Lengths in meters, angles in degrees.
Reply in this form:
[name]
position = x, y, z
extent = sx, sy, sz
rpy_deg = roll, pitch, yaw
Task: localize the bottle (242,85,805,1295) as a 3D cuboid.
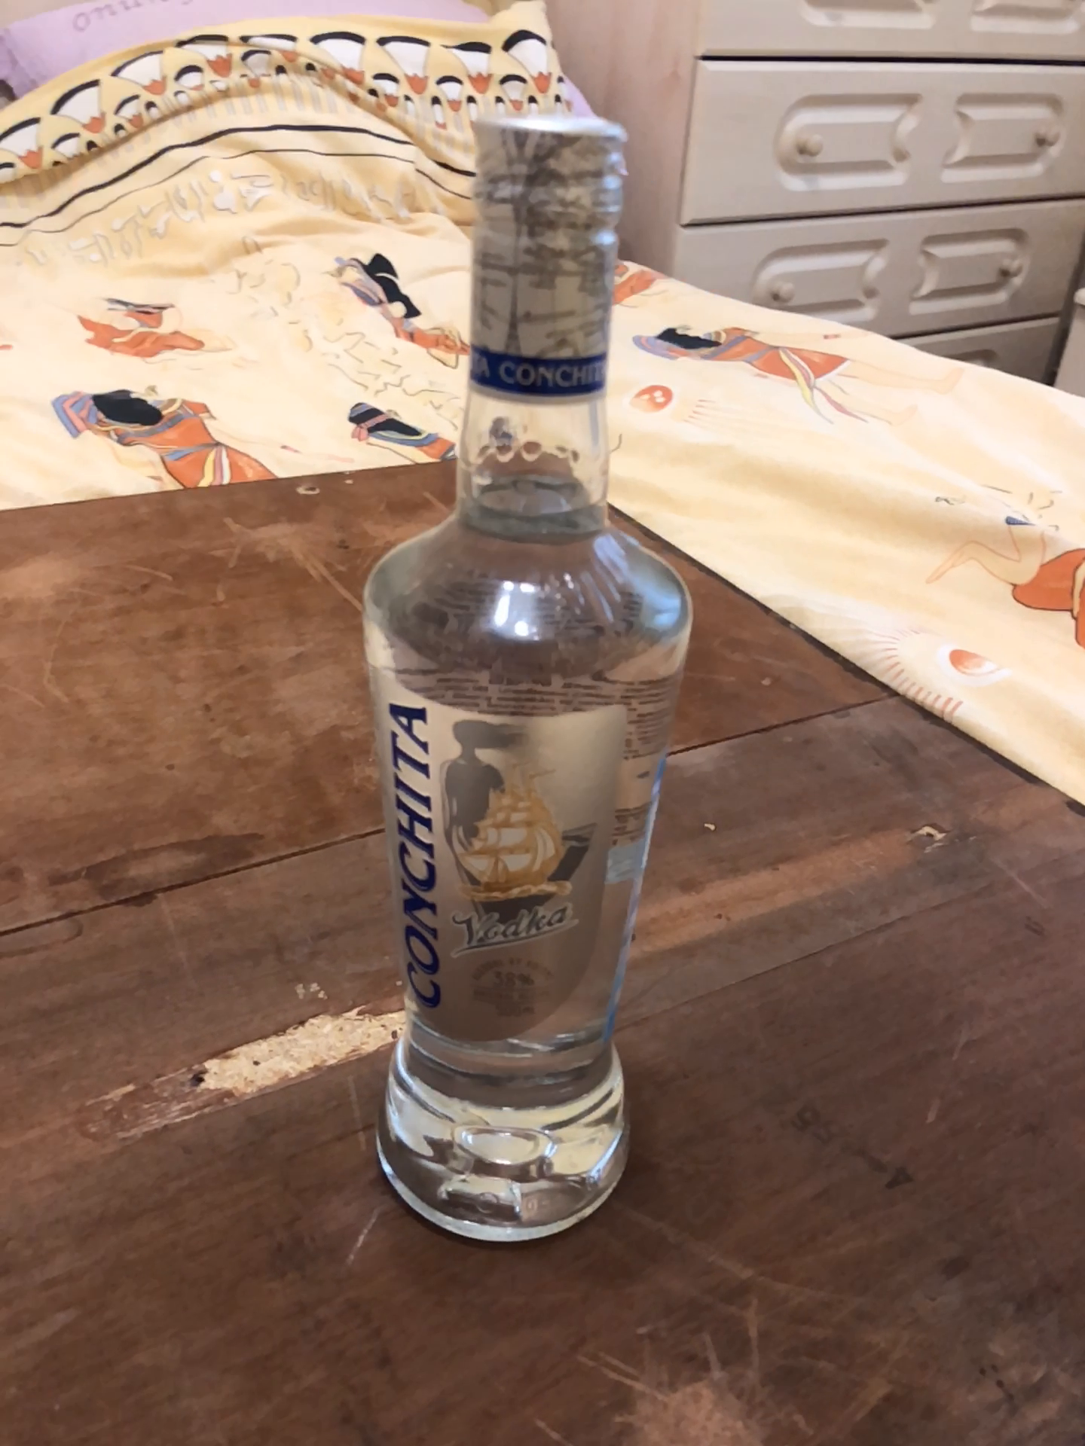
[bottle]
position = -0.005, 0.007, 0.284
extent = 0.077, 0.273, 0.076
rpy_deg = 2, 31, -1
